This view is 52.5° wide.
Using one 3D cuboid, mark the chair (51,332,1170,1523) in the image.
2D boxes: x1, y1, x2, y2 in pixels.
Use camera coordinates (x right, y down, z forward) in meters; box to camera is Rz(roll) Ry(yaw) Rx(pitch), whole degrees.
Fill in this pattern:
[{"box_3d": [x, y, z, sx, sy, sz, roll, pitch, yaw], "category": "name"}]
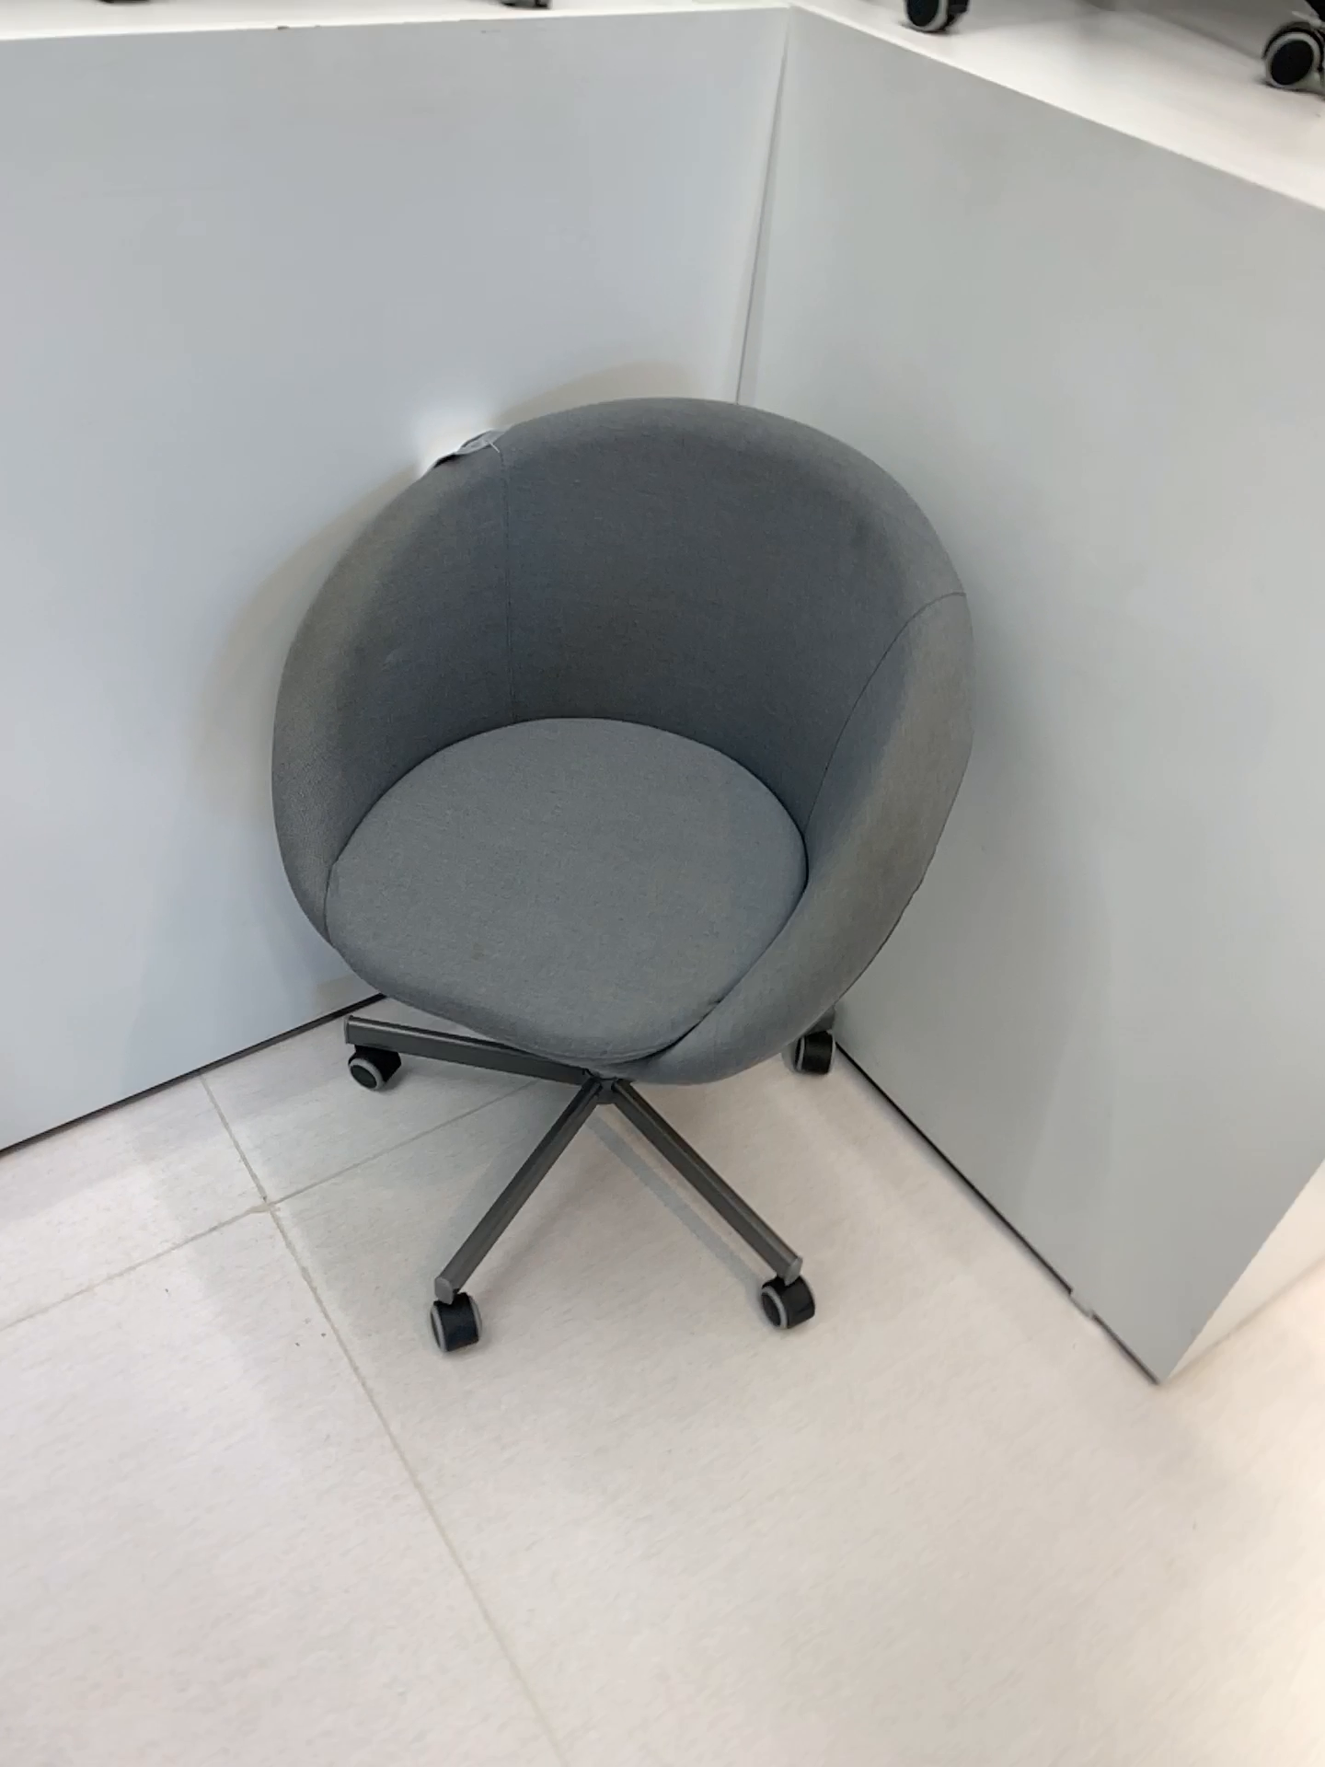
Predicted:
[{"box_3d": [-0.022, 0.021, 1.449, 0.730, 0.827, 0.712, 22, 45, 15], "category": "chair"}]
